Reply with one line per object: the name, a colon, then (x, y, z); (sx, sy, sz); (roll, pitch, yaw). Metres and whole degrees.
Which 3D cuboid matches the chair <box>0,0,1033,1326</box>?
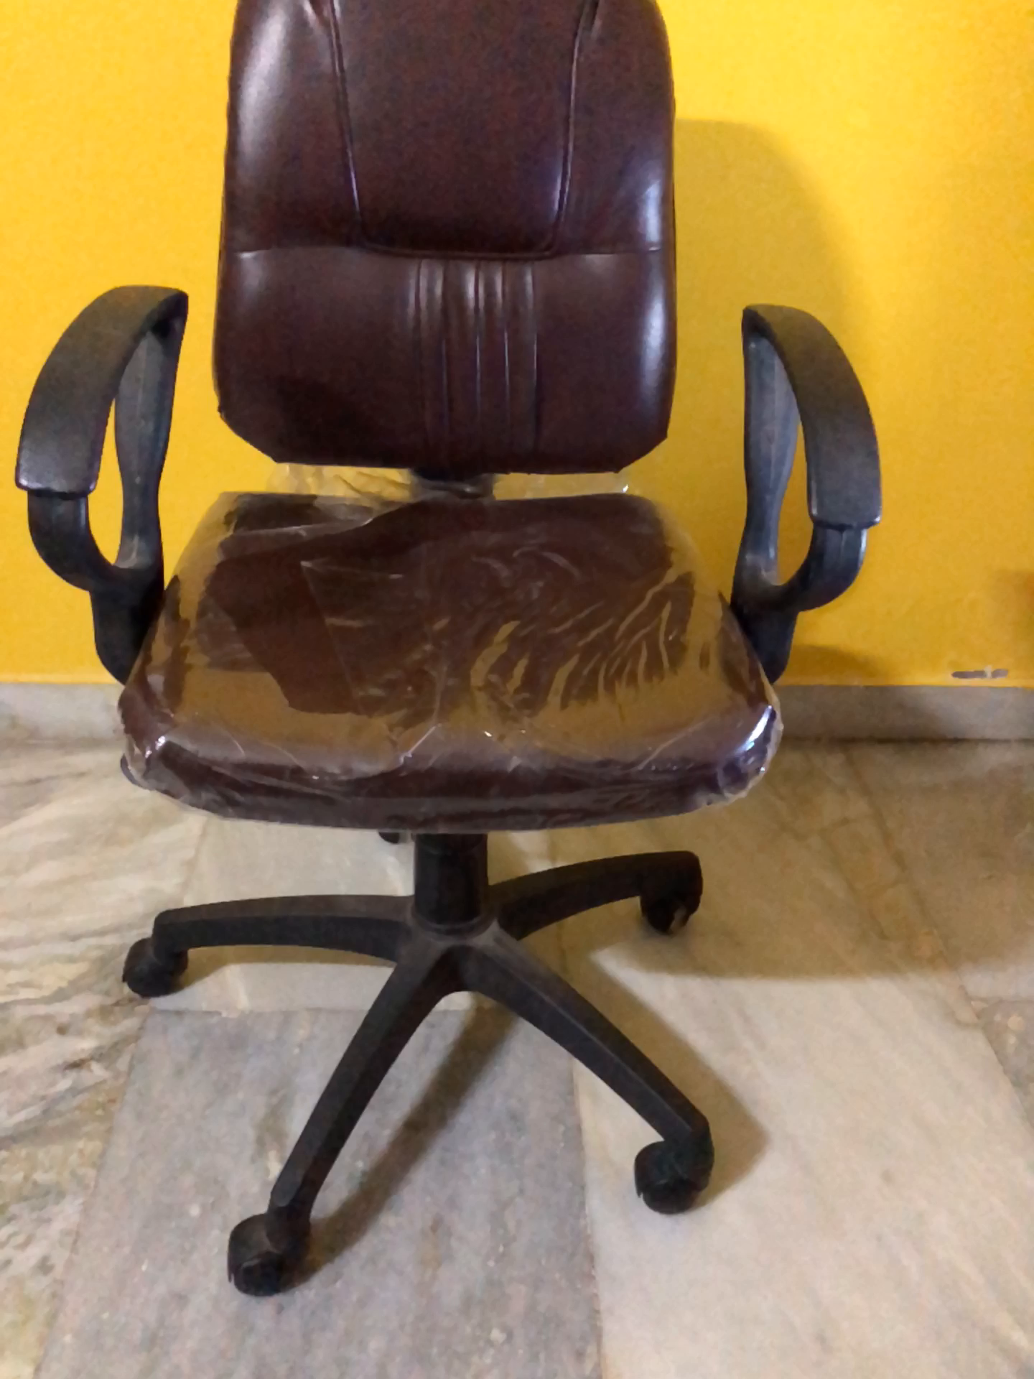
chair: (-0.060, -0.116, 0.953); (0.690, 0.973, 0.684); (-2, 32, -7)
